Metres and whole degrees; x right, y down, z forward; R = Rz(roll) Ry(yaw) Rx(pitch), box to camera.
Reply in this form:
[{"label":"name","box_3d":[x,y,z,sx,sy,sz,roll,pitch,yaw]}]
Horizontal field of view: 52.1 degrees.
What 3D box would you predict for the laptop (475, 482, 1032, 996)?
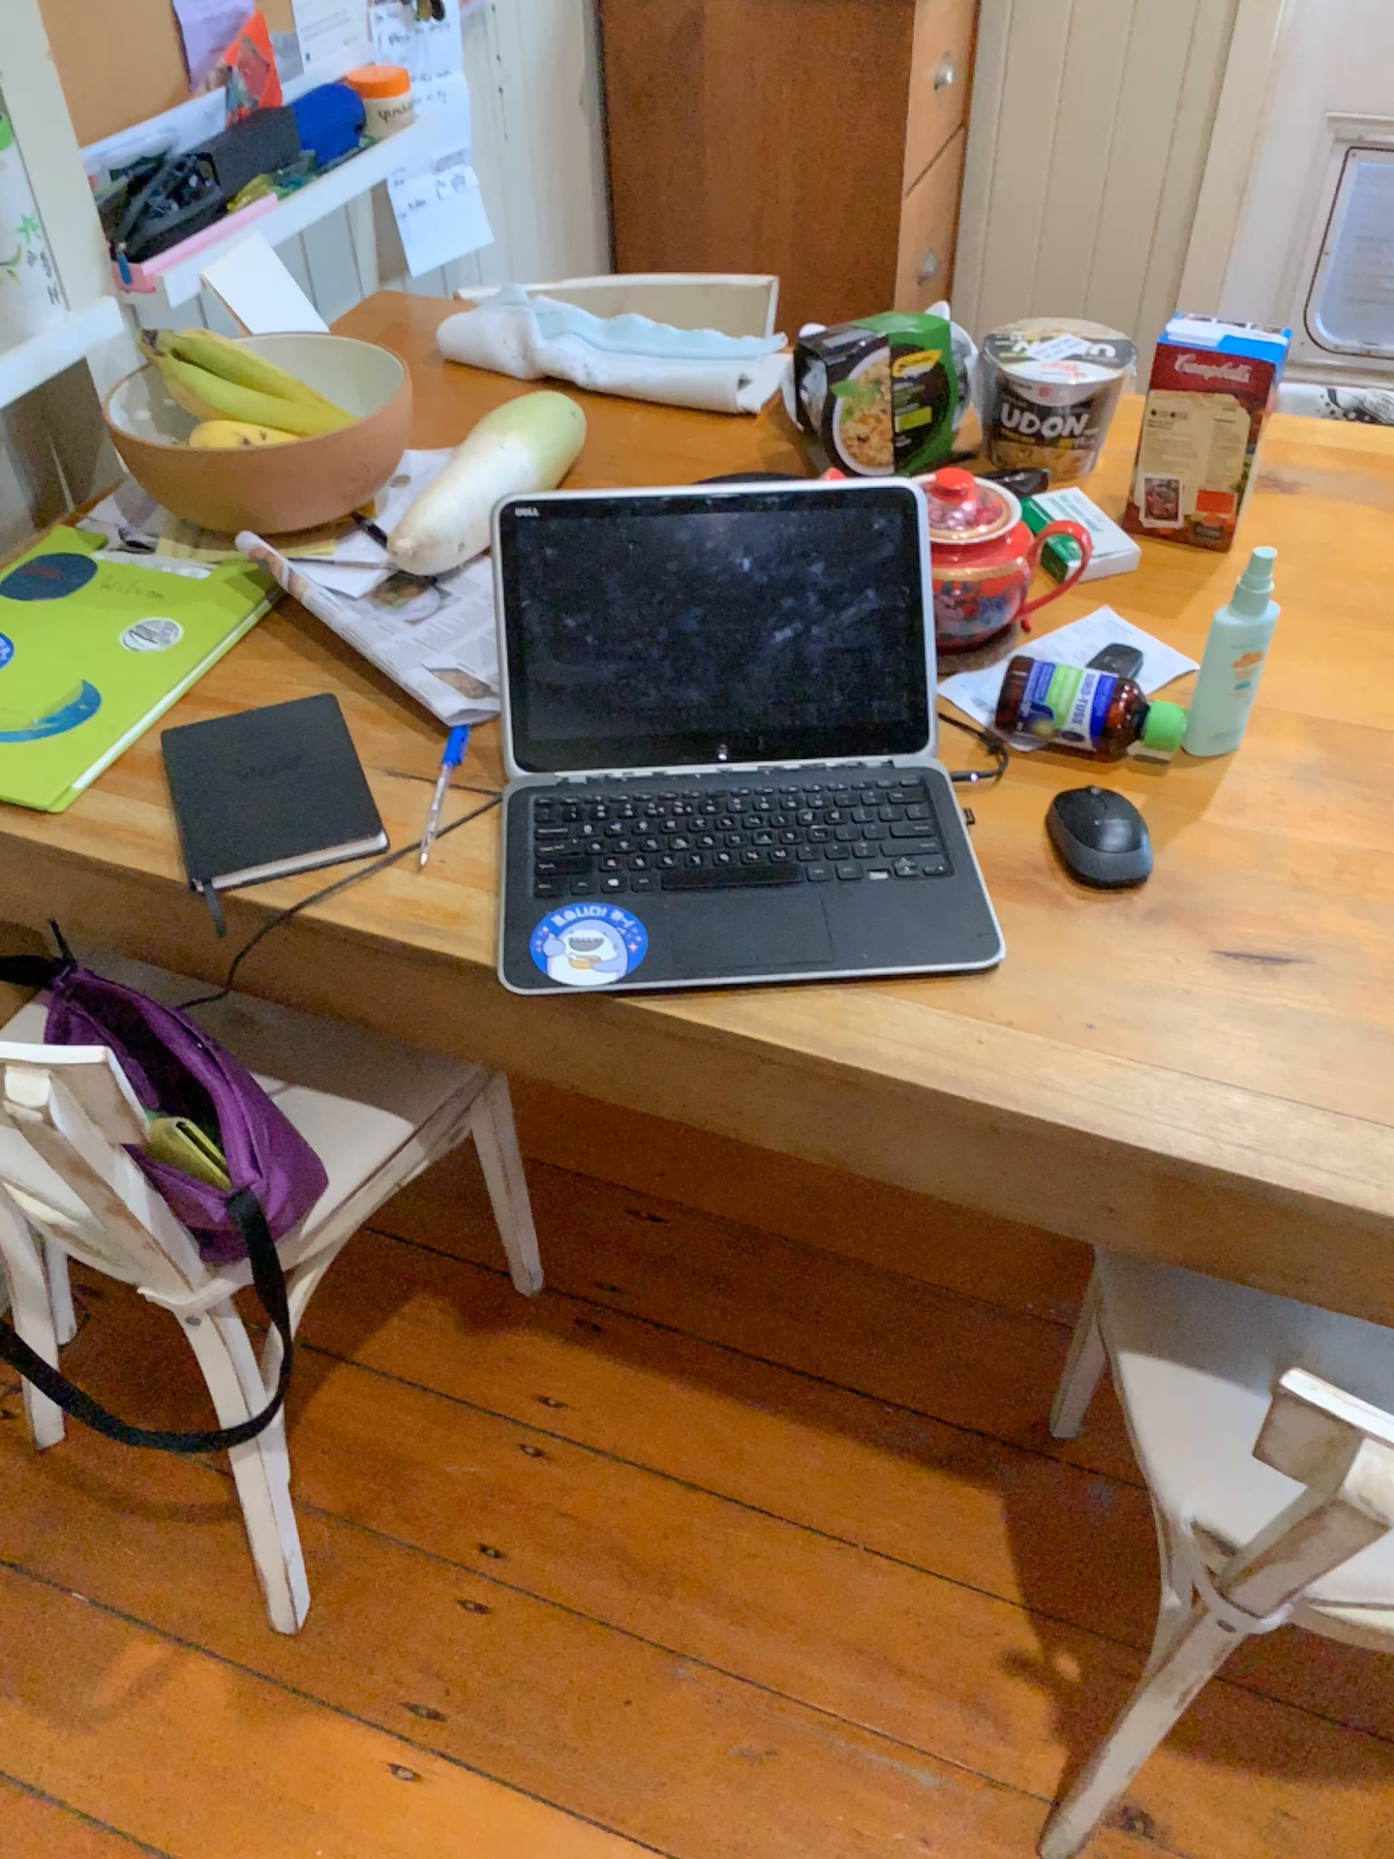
[{"label":"laptop","box_3d":[0.022,-0.140,0.938,0.303,0.139,0.341,-4,44,-3]}]
